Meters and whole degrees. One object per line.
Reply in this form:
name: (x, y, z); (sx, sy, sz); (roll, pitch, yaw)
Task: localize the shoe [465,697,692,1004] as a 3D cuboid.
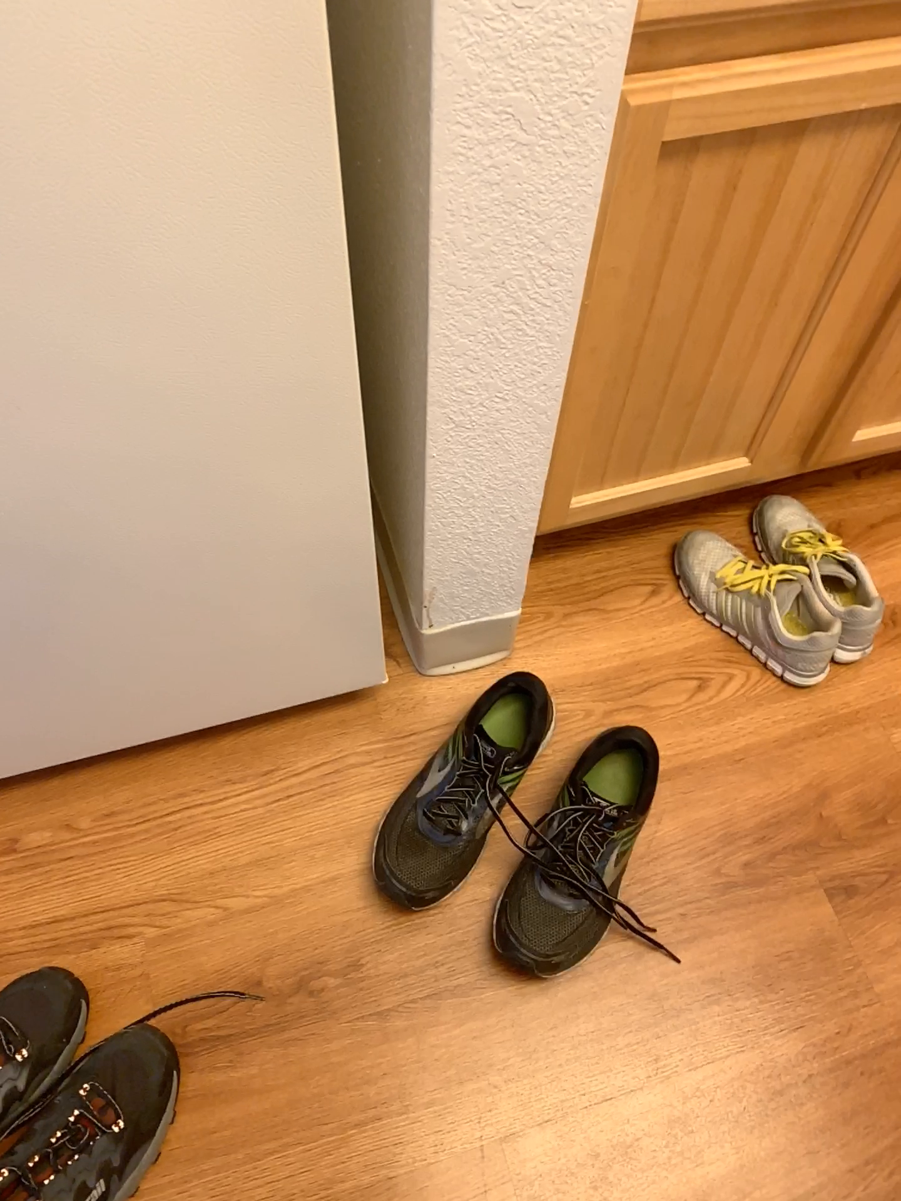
shoe: (0.135, 0.263, 0.978); (0.110, 0.140, 0.271); (28, 61, 14)

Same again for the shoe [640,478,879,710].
shoe: (0.376, -0.011, 1.151); (0.100, 0.110, 0.271); (-35, 66, -15)

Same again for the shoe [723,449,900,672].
shoe: (0.480, -0.057, 1.239); (0.100, 0.110, 0.271); (-15, 60, -4)

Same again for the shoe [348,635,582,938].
shoe: (0.018, 0.196, 0.983); (0.100, 0.140, 0.281); (30, 62, 15)
